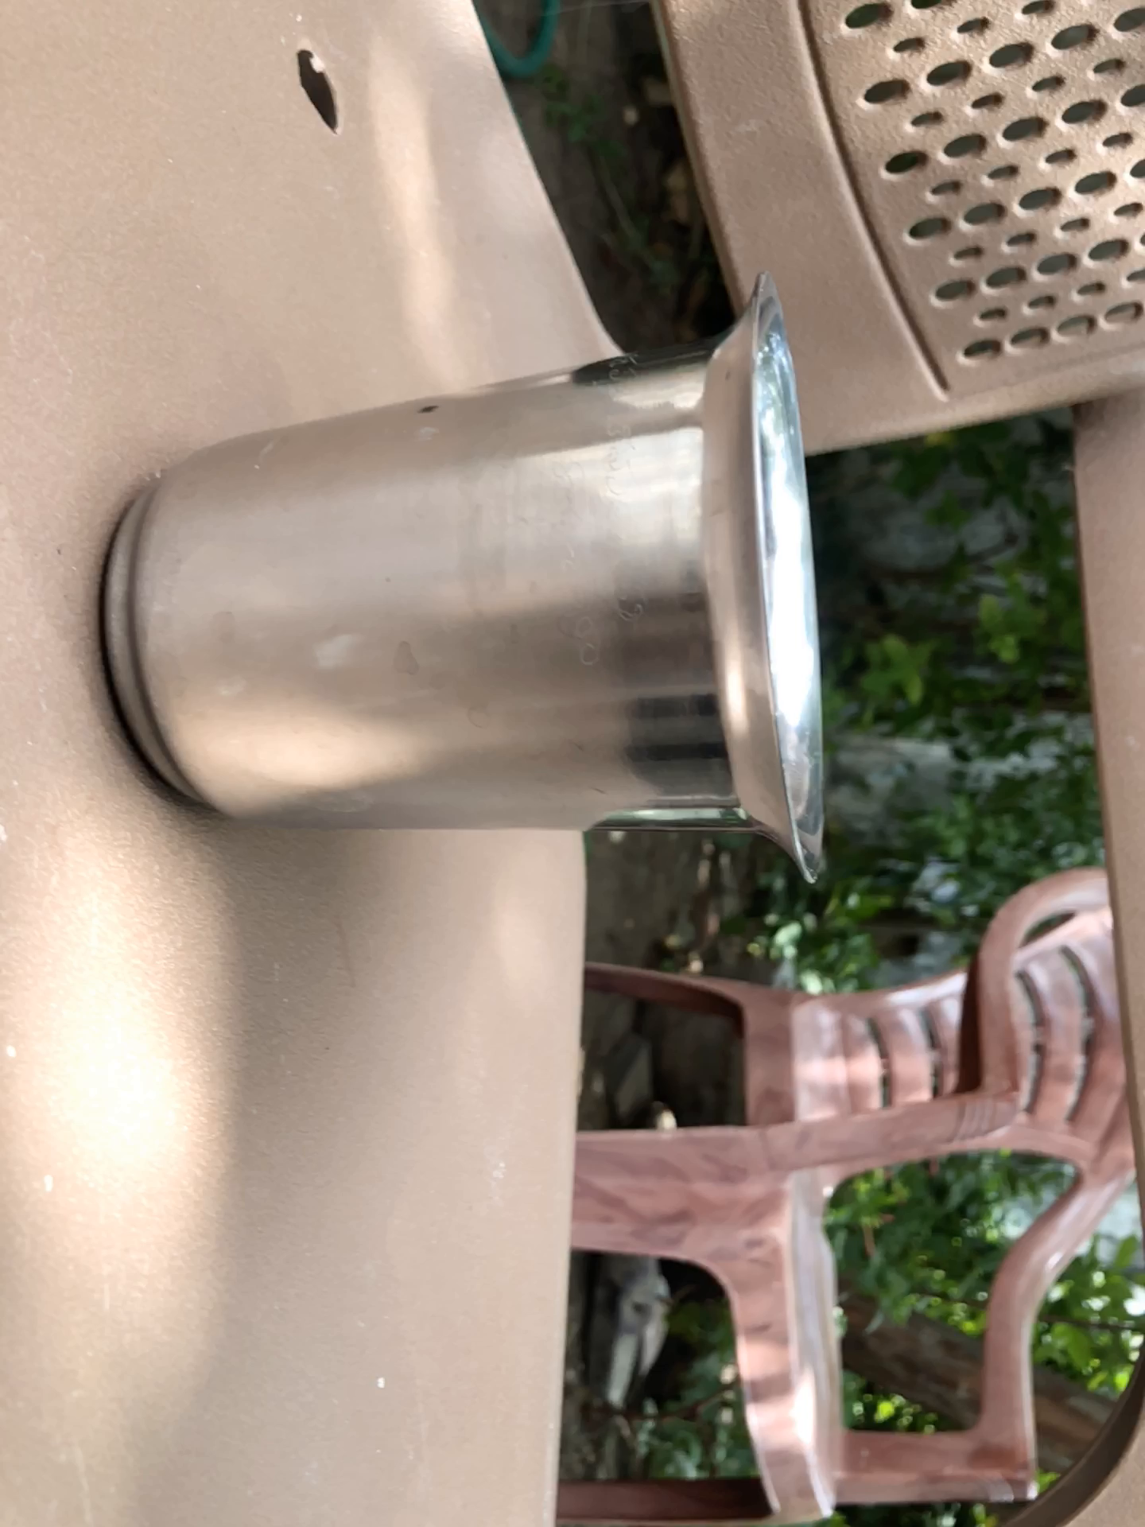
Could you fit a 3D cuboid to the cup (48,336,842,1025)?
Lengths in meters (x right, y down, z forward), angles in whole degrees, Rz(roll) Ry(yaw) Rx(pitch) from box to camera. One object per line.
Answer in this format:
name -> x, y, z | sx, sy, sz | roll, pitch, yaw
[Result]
cup -> -0.007, -0.020, 0.202 | 0.090, 0.090, 0.080 | -54, 142, -65
